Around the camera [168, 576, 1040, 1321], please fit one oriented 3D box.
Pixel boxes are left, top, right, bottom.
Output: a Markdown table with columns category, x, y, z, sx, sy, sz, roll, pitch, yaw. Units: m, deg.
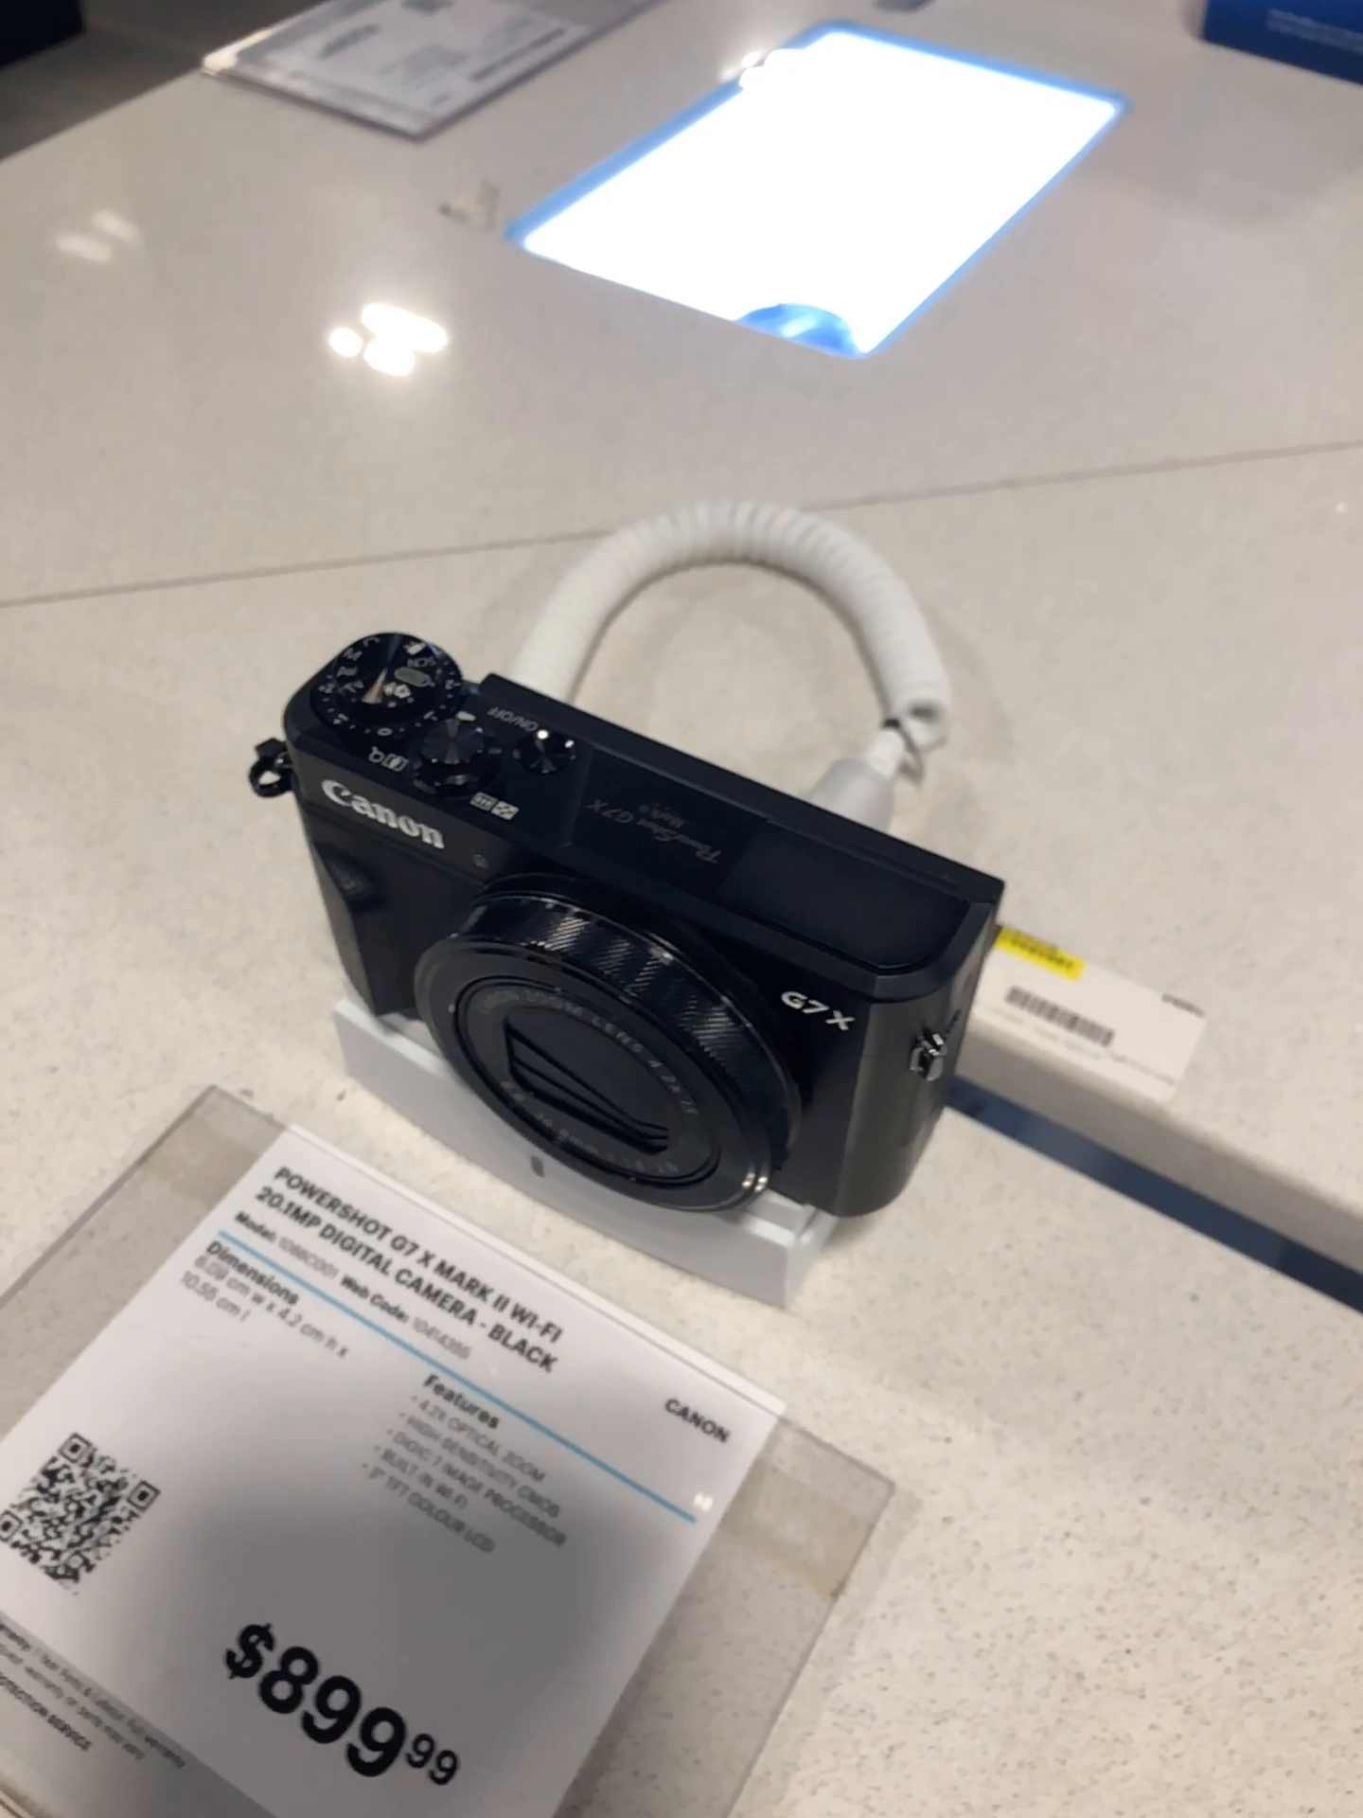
| category | x | y | z | sx | sy | sz | roll | pitch | yaw |
| --- | --- | --- | --- | --- | --- | --- | --- | --- | --- |
| camera | -0.013 | 0.004 | 0.223 | 0.110 | 0.060 | 0.040 | 25 | 53 | 18 |
